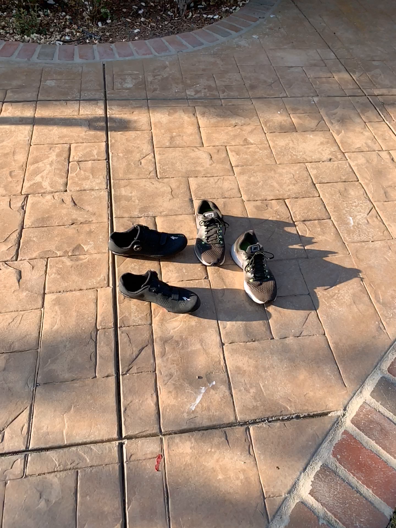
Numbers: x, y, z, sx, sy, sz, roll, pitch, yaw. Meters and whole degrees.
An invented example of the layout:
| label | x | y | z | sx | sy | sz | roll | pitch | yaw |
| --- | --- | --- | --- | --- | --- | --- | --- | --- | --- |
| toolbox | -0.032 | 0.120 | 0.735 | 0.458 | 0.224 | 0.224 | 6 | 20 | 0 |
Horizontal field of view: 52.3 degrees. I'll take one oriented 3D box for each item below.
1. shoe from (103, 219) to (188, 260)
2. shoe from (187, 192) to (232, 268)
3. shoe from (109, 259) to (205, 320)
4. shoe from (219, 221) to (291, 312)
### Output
| label | x | y | z | sx | sy | sz | roll | pitch | yaw |
| --- | --- | --- | --- | --- | --- | --- | --- | --- | --- |
| shoe | -0.183 | -0.088 | 1.404 | 0.280 | 0.050 | 0.131 | -3 | 51 | -6 |
| shoe | 0.035 | -0.130 | 1.472 | 0.130 | 0.090 | 0.291 | -2 | 51 | -5 |
| shoe | -0.129 | 0.079 | 1.290 | 0.280 | 0.050 | 0.110 | 16 | 51 | 10 |
| shoe | 0.185 | 0.002 | 1.389 | 0.130 | 0.109 | 0.291 | -11 | 52 | -13 |
